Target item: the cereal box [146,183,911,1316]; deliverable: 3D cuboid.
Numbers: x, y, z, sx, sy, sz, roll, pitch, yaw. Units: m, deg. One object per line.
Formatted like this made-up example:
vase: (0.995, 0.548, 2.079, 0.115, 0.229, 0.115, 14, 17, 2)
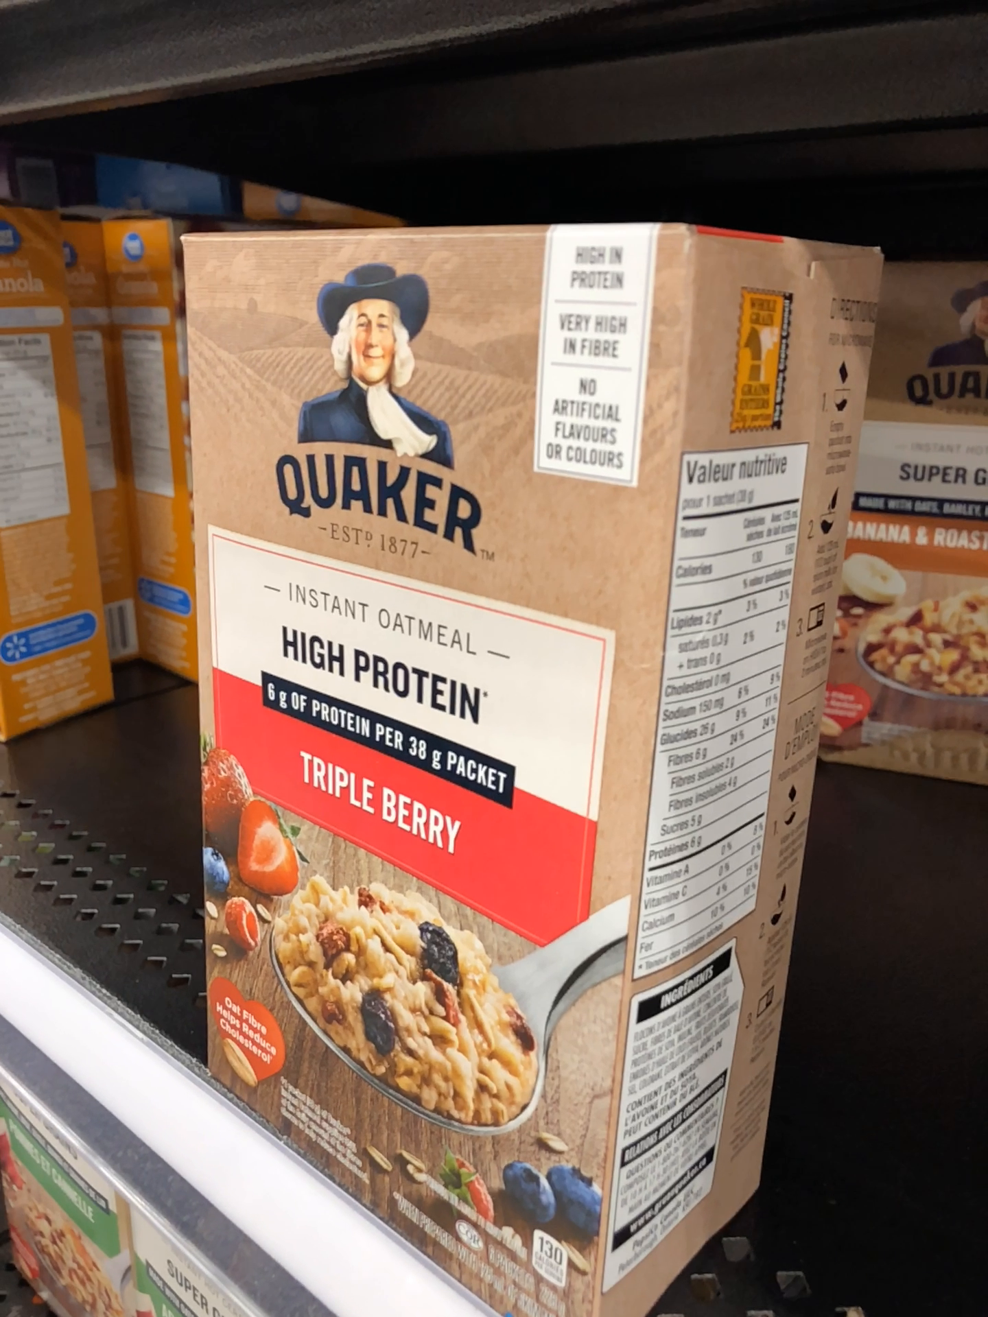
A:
cereal box: (-0.004, 0.014, 0.234, 0.130, 0.199, 0.070, 16, 21, 39)
